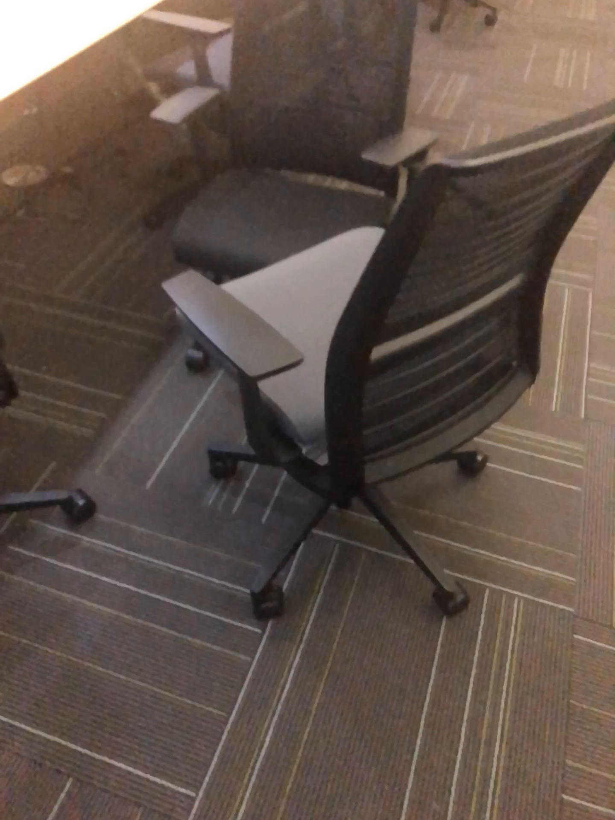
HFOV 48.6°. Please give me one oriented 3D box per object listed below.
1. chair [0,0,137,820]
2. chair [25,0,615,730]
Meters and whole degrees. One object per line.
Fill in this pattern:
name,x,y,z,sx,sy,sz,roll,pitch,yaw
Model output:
chair,-0.872,-0.057,1.104,0.721,0.962,0.735,30,51,26
chair,0.116,-0.136,1.221,0.724,0.962,0.712,-29,52,-28
